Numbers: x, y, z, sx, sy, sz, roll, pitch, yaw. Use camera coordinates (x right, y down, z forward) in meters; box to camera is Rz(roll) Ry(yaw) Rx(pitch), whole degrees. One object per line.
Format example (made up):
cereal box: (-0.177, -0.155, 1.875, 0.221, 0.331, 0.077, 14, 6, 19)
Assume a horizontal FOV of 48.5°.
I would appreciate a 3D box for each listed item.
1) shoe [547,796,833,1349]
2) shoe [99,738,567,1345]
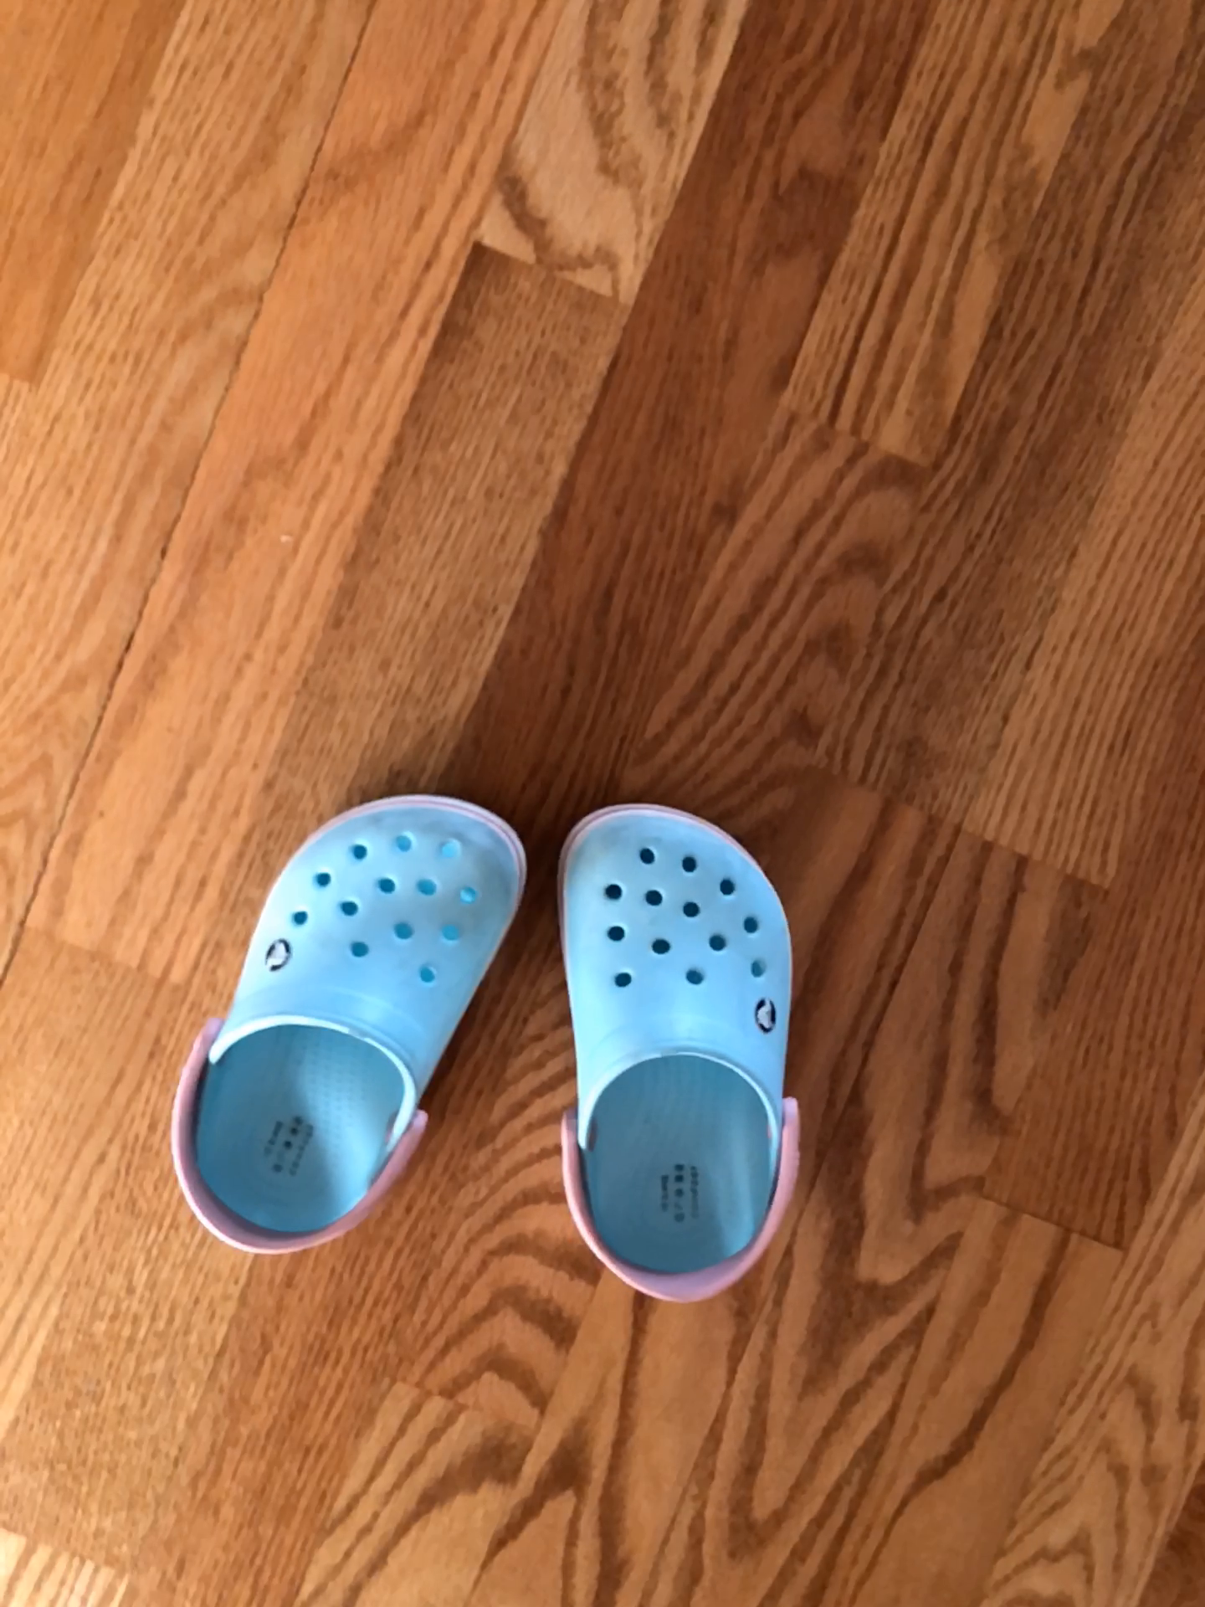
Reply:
shoe: (0.026, 0.082, 0.432, 0.083, 0.048, 0.165, -2, 93, -2)
shoe: (-0.082, 0.071, 0.430, 0.083, 0.057, 0.165, 23, 92, -3)
